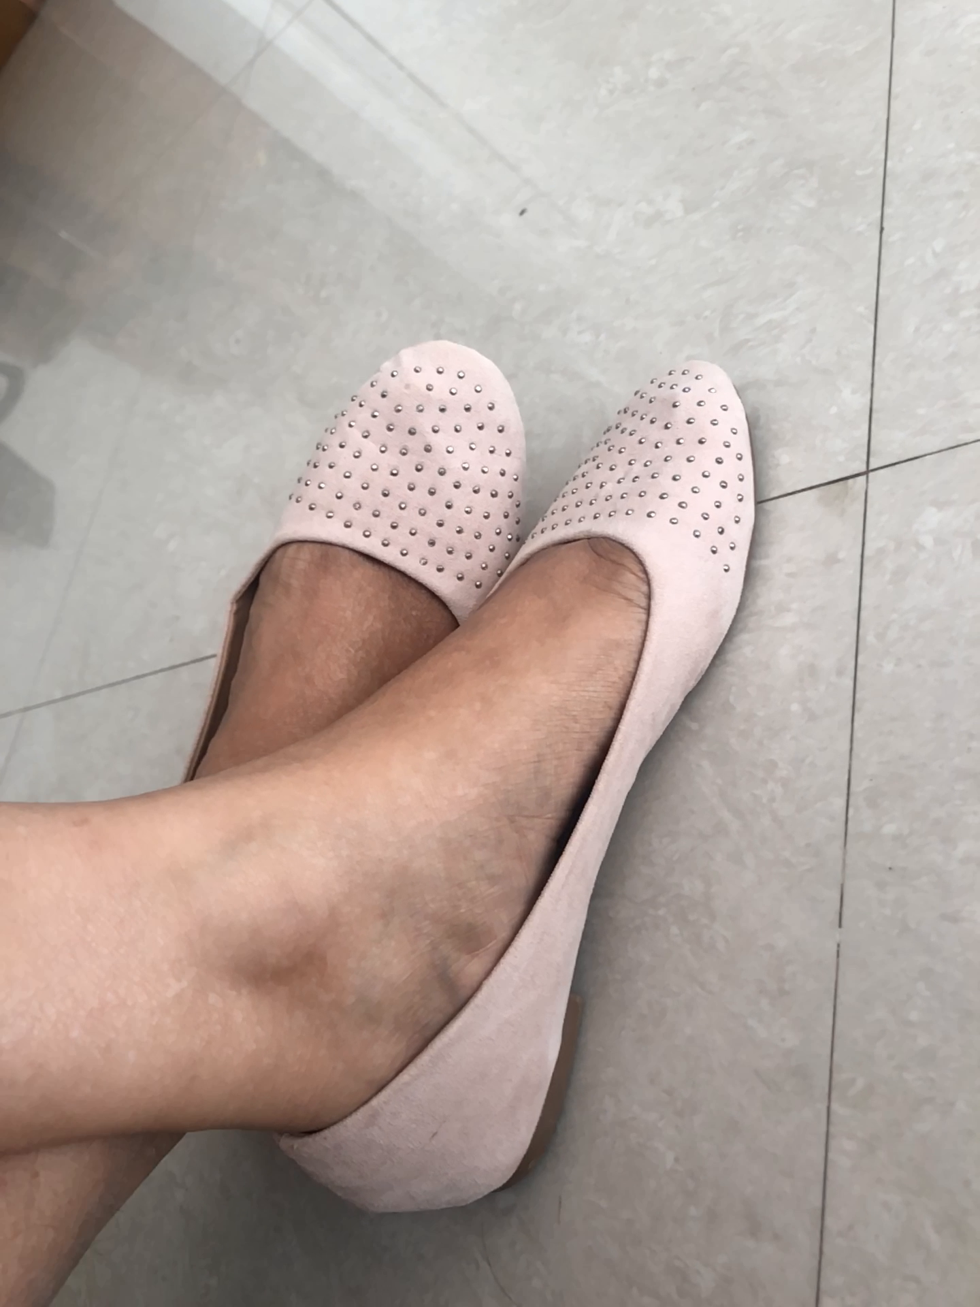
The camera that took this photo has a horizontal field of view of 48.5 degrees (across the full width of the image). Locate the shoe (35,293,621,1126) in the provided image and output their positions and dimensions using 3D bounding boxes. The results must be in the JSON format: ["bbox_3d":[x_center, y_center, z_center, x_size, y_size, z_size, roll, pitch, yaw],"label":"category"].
[{"bbox_3d":[-0.050,0.017,0.364,0.060,0.090,0.240,63,-129,-89],"label":"shoe"}]

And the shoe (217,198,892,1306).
[{"bbox_3d":[0.026,0.024,0.302,0.101,0.079,0.270,-5,63,48],"label":"shoe"}]
